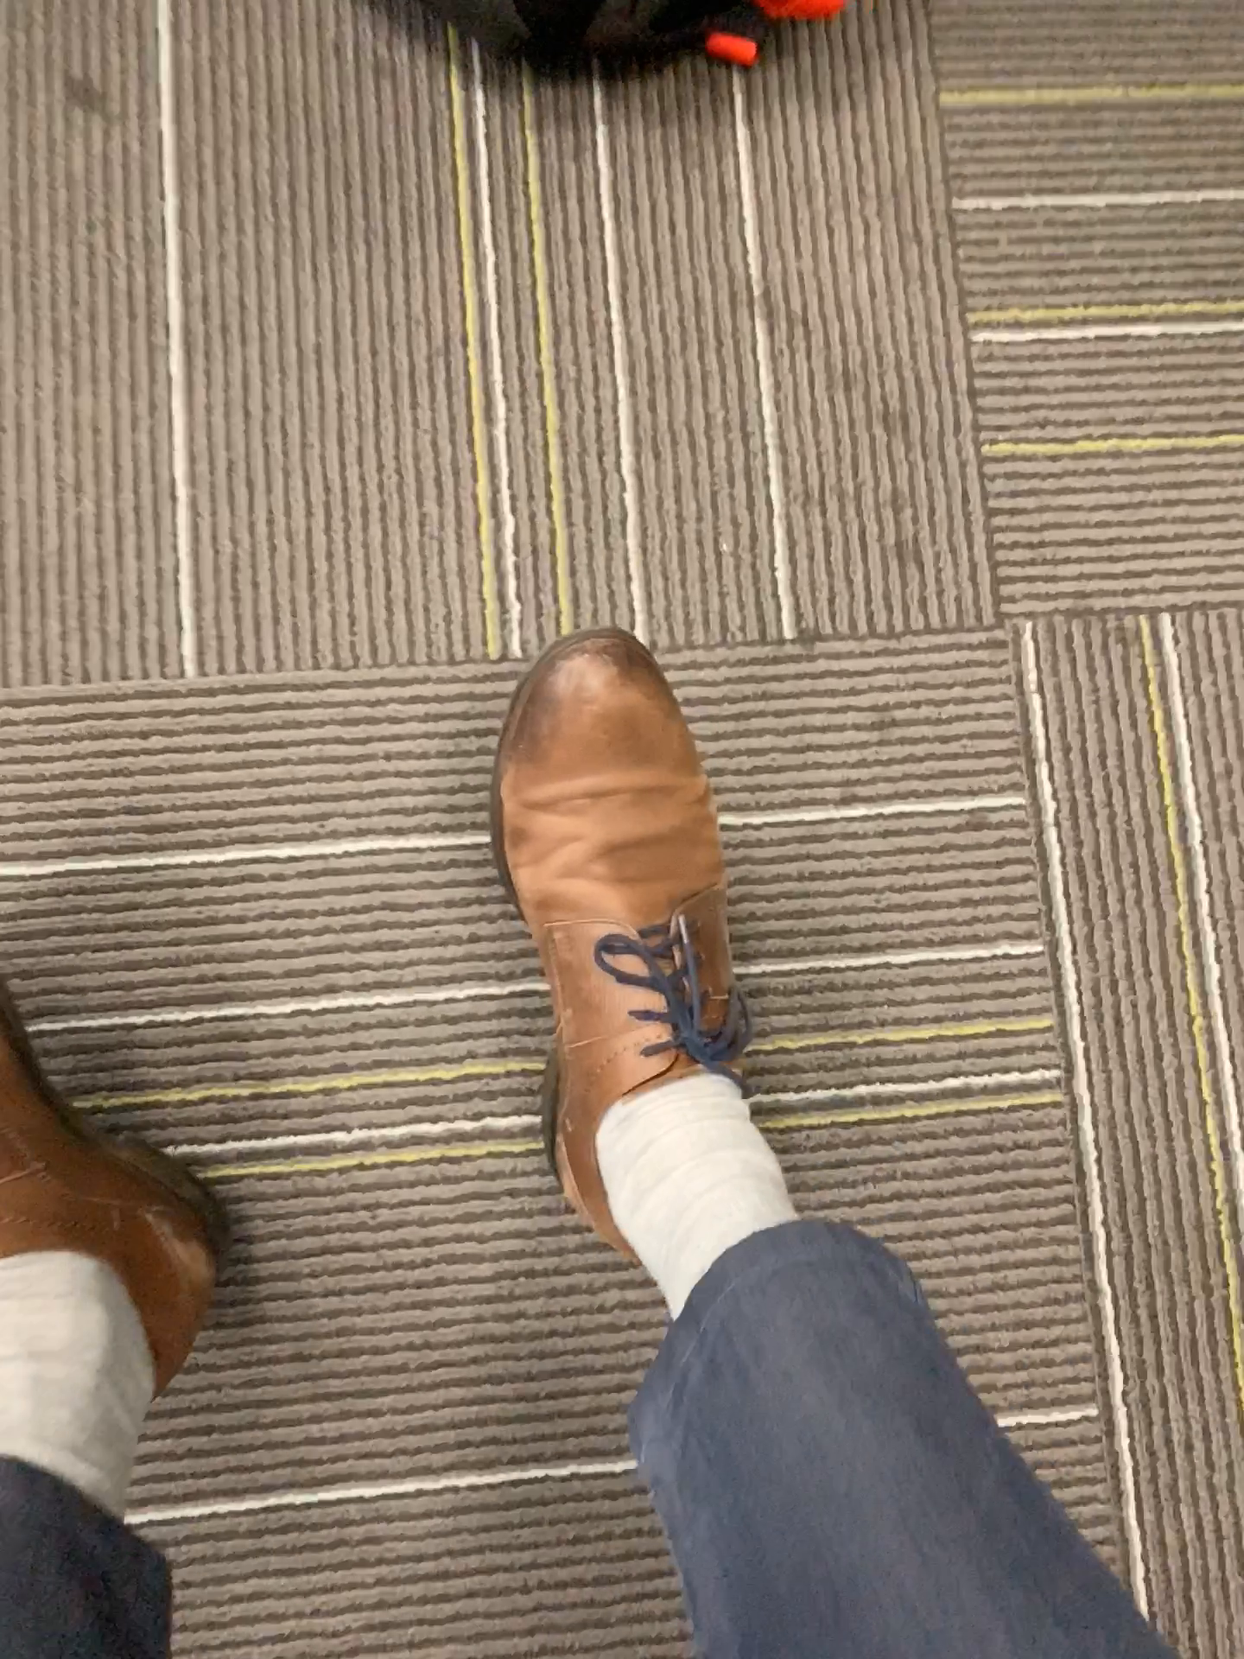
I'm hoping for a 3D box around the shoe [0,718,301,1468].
[{"bbox_3d":[-0.265,0.108,0.522,0.120,0.084,0.271,-28,106,6],"label":"shoe"}]

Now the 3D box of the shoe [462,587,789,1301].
[{"bbox_3d":[0.004,0.042,0.547,0.103,0.074,0.281,-9,103,-25],"label":"shoe"}]
